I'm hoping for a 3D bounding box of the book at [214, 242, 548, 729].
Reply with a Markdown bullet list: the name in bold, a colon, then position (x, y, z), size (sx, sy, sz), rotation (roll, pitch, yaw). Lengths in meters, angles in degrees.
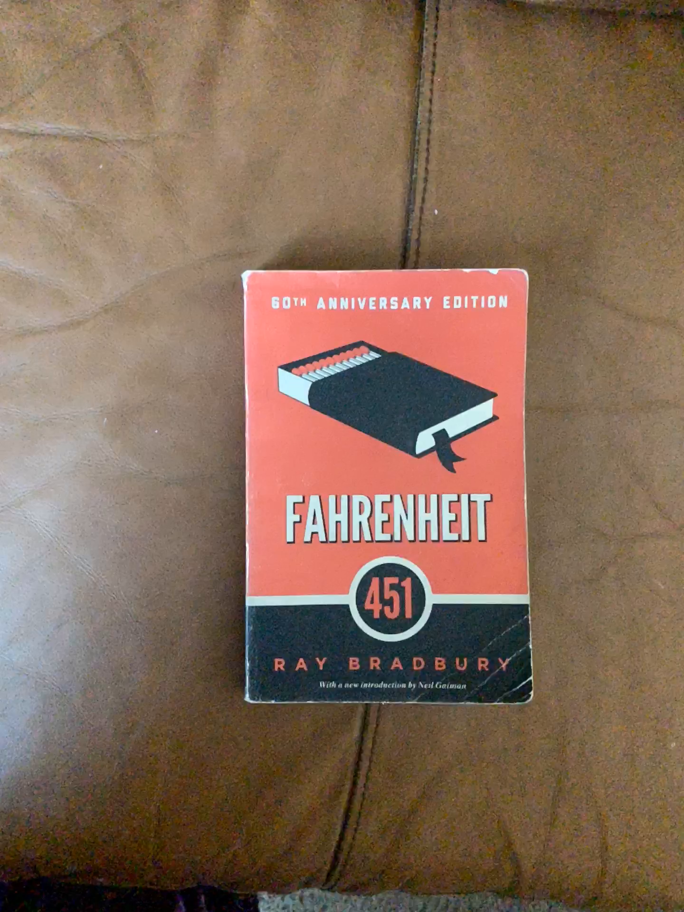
- **book**: position (0.017, 0.011, 0.348), size (0.150, 0.040, 0.220), rotation (-1, 88, -6)
